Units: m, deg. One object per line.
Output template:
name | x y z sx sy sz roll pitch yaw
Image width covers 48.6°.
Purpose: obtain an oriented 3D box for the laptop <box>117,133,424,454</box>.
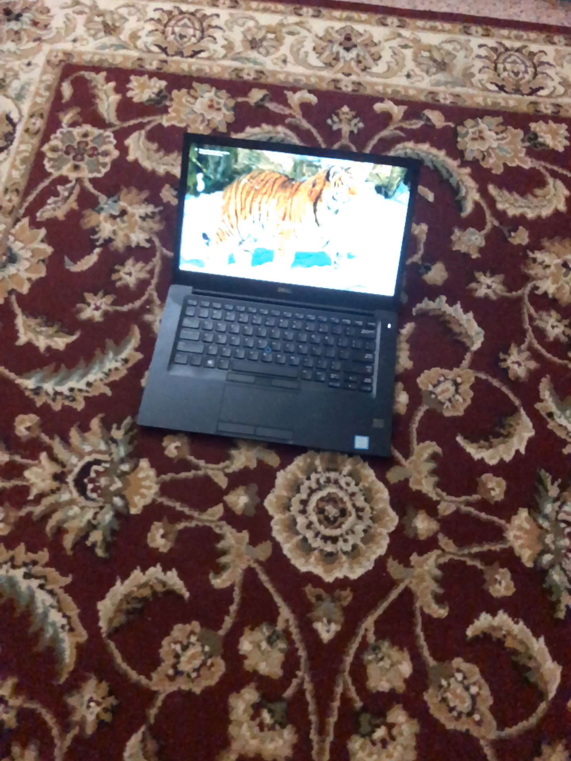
laptop | -0.001 -0.123 0.834 0.328 0.124 0.384 7 64 2
